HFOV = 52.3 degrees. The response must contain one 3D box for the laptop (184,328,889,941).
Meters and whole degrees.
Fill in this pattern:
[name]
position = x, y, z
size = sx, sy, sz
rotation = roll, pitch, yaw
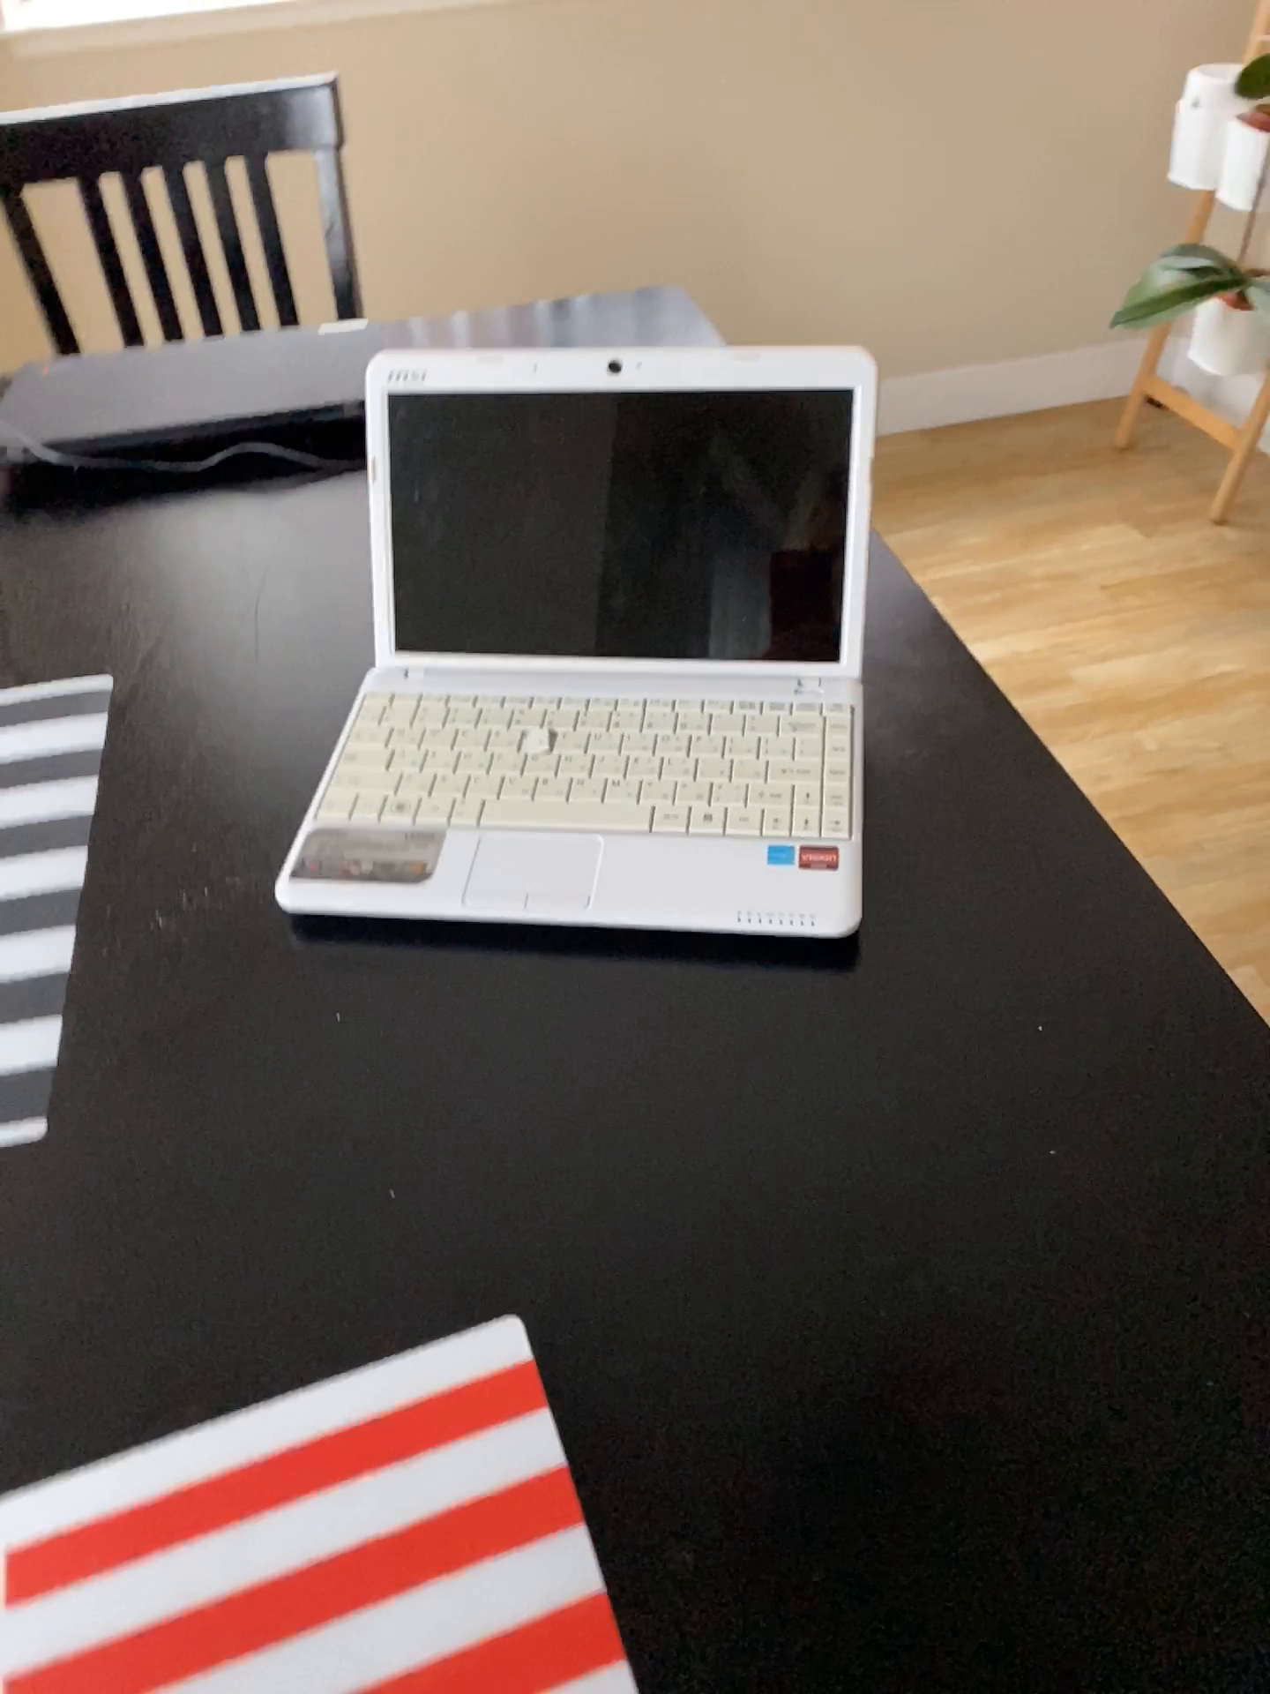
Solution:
[laptop]
position = -0.024, -0.128, 0.683
size = 0.294, 0.153, 0.302
rotation = 2, 45, 8
